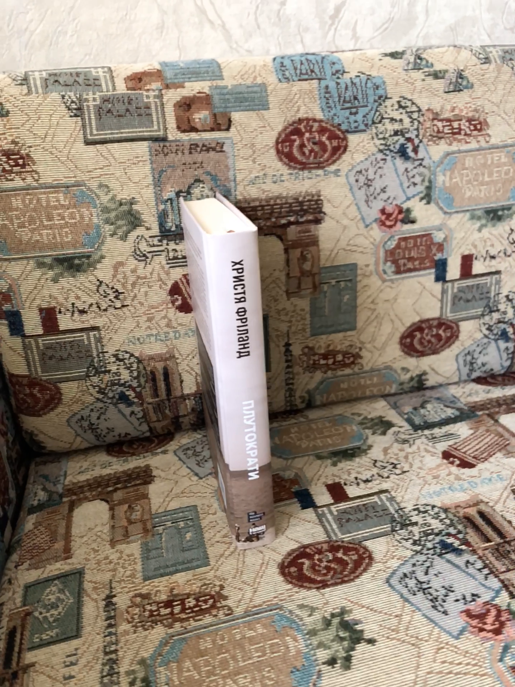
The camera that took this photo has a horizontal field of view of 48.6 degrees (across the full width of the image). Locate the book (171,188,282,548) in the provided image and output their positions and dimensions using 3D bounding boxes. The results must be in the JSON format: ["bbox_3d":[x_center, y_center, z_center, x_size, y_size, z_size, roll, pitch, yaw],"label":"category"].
[{"bbox_3d":[-0.026,0.007,0.420,0.036,0.215,0.158,-8,23,-11],"label":"book"}]
